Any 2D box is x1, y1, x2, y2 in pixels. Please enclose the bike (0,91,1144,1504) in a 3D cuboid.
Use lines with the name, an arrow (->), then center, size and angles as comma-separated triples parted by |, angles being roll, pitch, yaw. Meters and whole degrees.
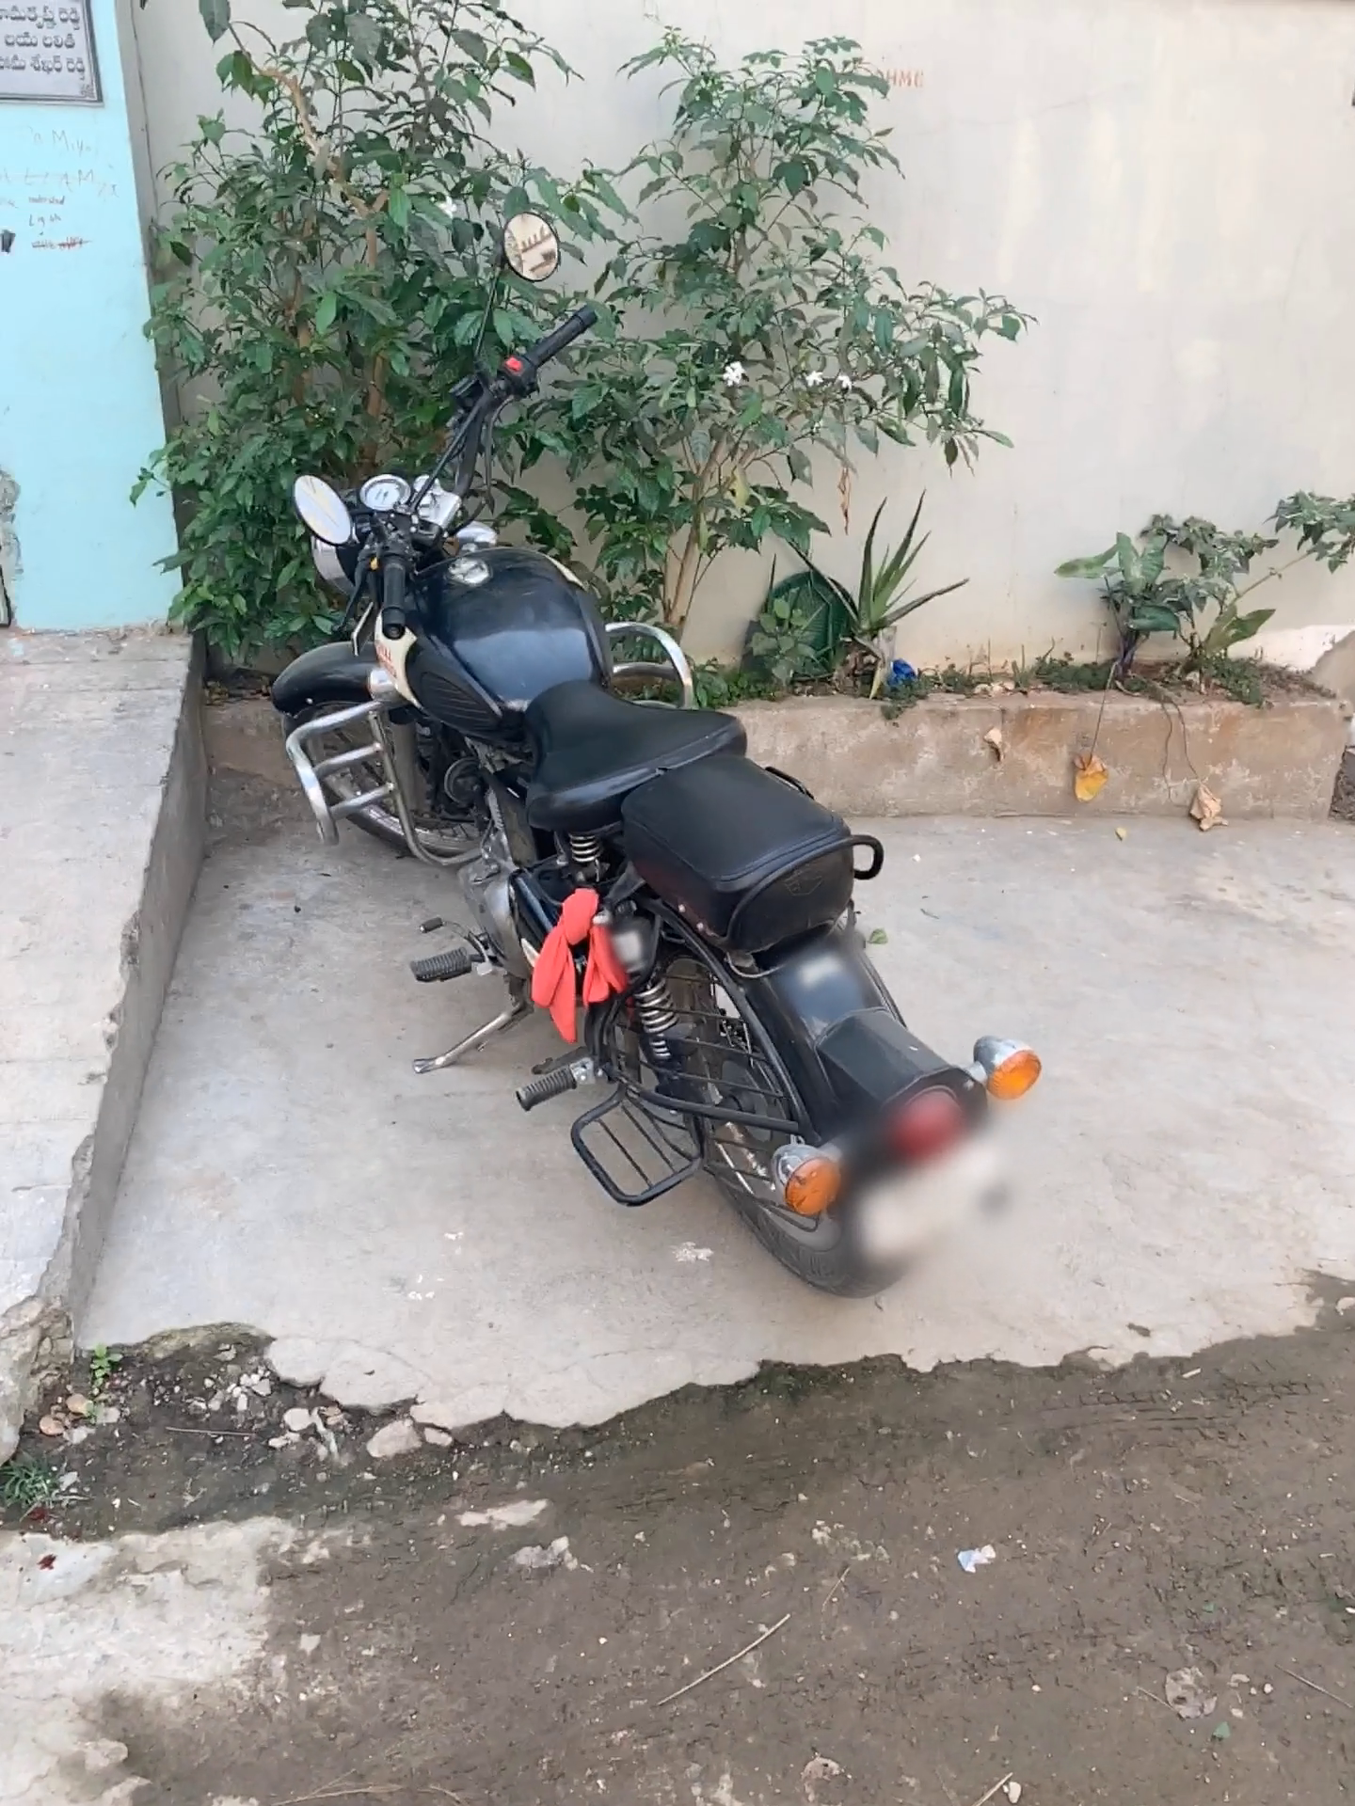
bike -> -0.338, -0.386, 2.203 | 0.747, 1.340, 1.792 | -17, 36, -36
